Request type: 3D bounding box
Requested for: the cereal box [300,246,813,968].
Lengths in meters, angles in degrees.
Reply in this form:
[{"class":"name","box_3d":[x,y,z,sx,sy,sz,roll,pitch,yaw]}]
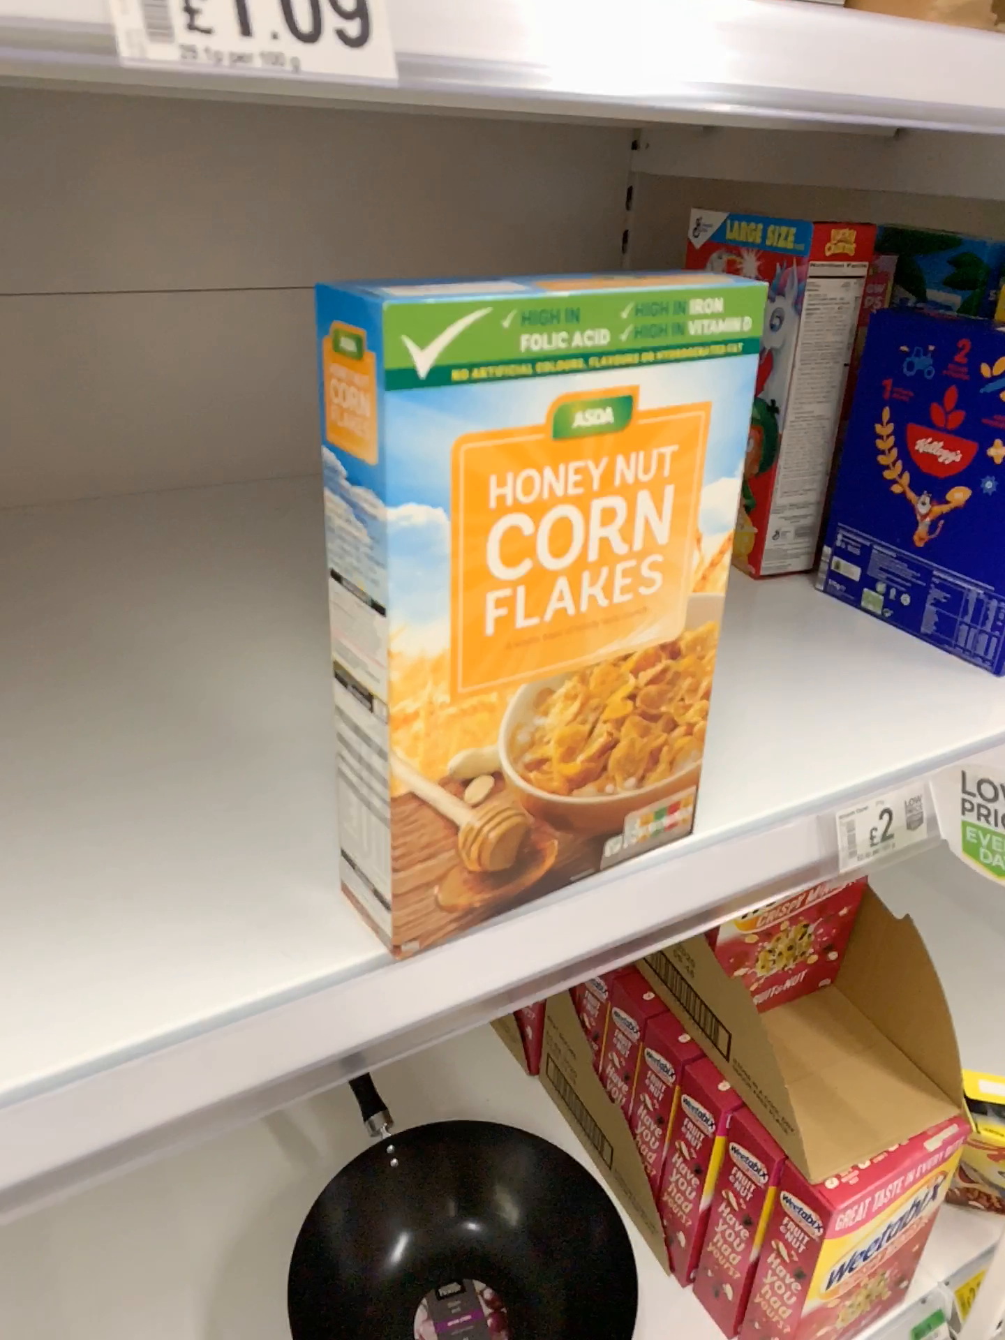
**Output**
[{"class":"cereal box","box_3d":[0.021,-0.034,0.466,0.201,0.287,0.070,-15,32,-31]}]
